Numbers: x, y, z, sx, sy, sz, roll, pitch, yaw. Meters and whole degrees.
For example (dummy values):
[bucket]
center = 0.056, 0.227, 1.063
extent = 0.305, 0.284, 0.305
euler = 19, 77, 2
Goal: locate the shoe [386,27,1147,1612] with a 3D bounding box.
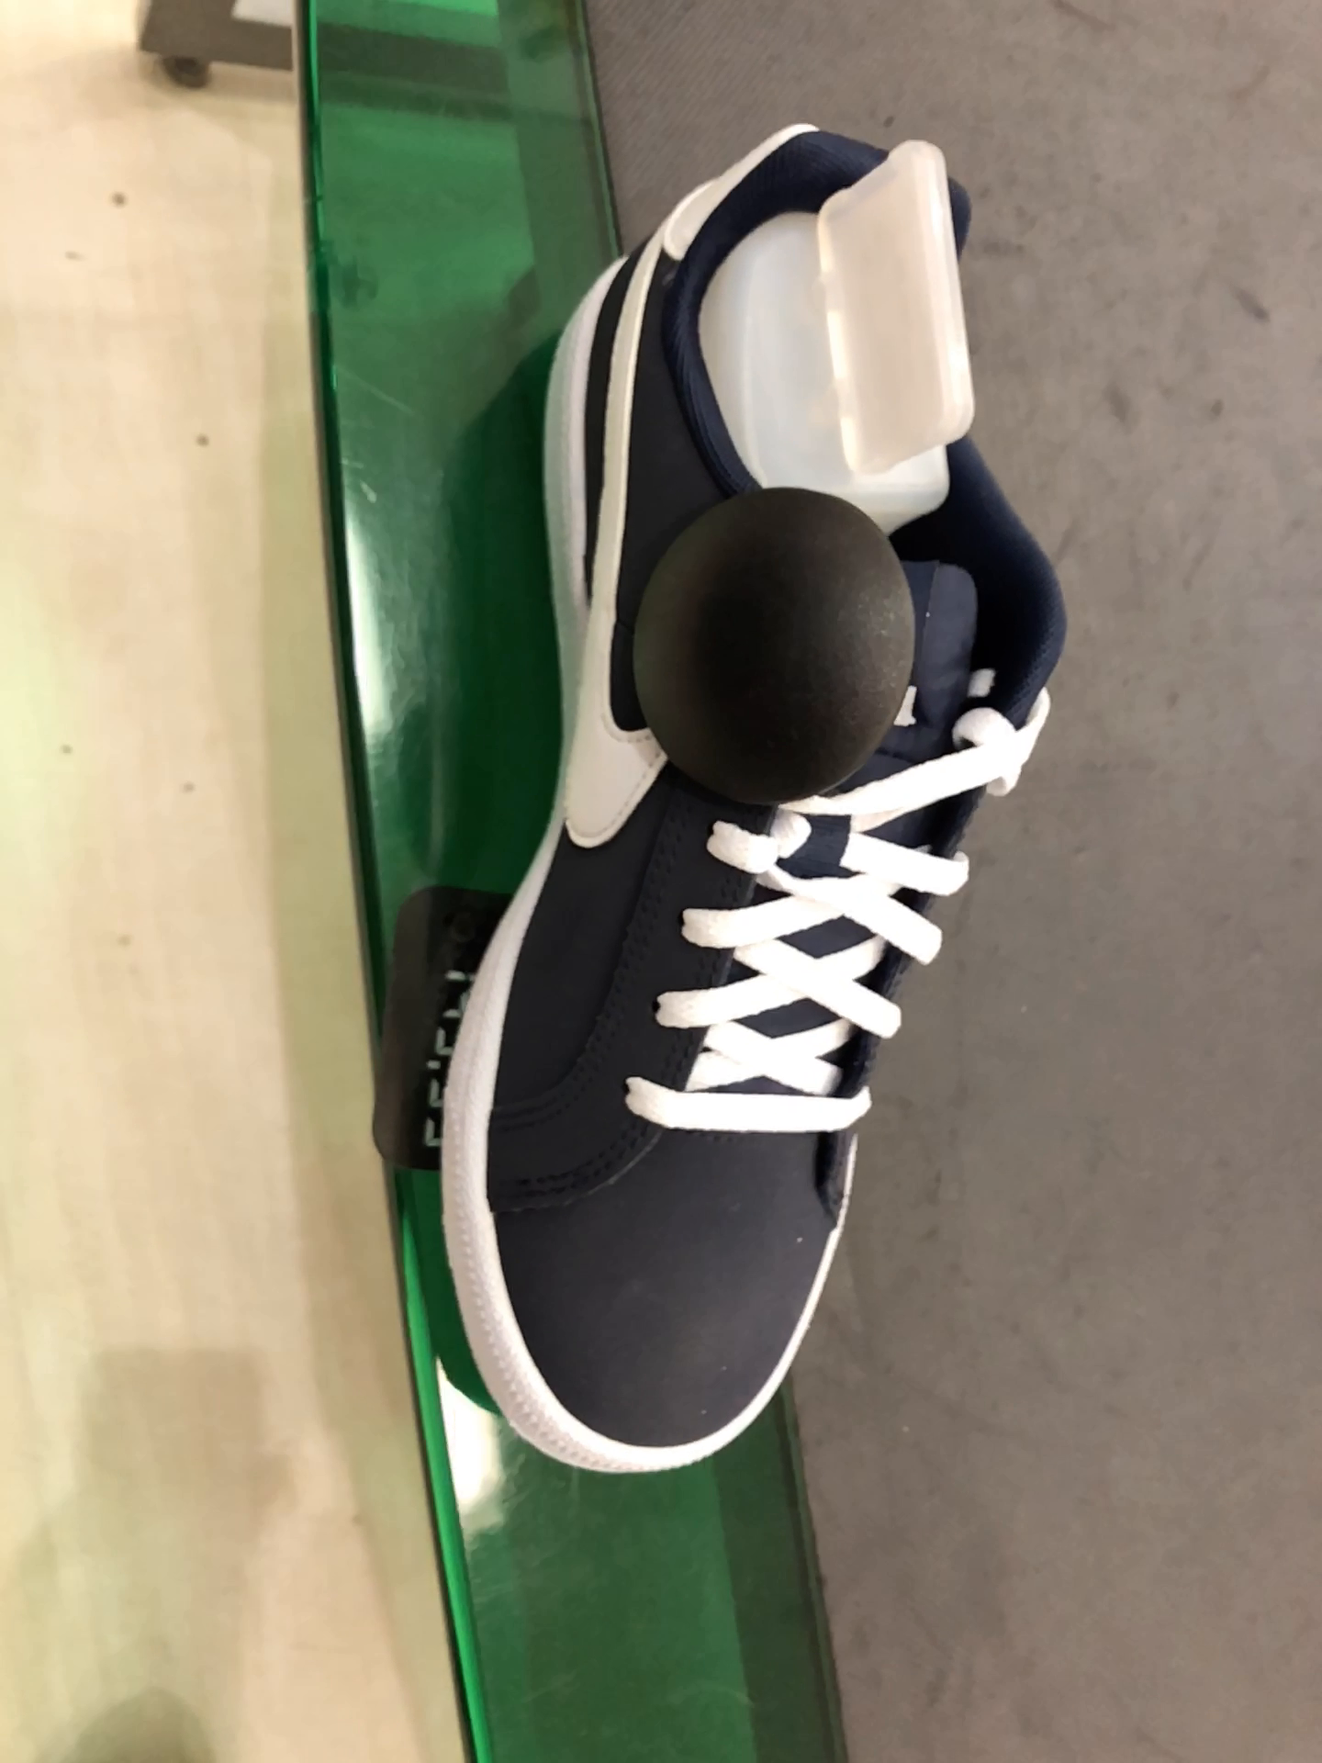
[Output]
[shoe]
center = 0.021, -0.009, 0.295
extent = 0.110, 0.090, 0.250
euler = 6, 82, -26
